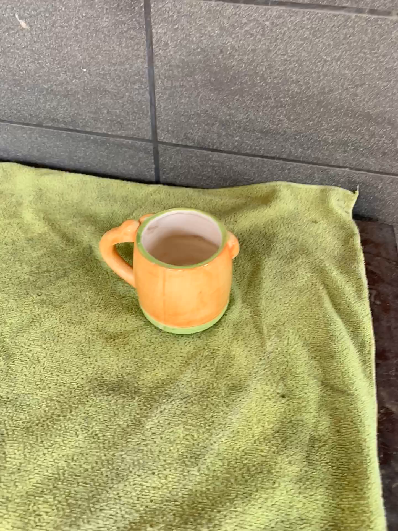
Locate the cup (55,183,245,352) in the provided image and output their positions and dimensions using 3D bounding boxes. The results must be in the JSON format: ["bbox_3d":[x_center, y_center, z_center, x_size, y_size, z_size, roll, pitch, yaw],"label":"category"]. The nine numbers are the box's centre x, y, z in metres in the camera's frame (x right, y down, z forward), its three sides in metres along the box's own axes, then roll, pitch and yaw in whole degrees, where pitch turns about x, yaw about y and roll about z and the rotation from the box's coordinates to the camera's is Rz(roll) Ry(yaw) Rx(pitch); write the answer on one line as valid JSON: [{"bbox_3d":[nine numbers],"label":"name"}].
[{"bbox_3d":[-0.035,0.002,0.357,0.130,0.100,0.080,9,46,7],"label":"cup"}]
